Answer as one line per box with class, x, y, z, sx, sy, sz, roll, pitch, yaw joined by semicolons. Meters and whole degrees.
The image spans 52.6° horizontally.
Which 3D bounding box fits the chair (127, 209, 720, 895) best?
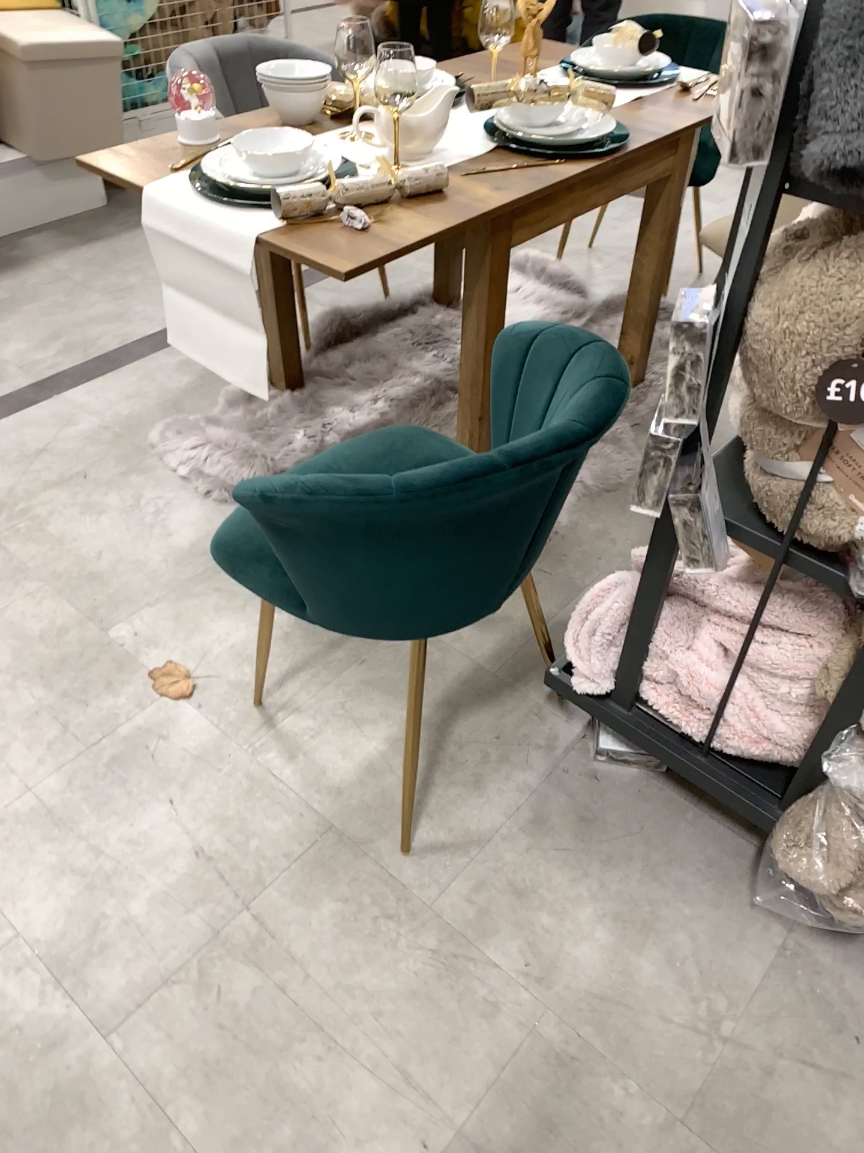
chair;-0.010;-0.049;1.362;0.527;0.754;0.542;34;52;31
